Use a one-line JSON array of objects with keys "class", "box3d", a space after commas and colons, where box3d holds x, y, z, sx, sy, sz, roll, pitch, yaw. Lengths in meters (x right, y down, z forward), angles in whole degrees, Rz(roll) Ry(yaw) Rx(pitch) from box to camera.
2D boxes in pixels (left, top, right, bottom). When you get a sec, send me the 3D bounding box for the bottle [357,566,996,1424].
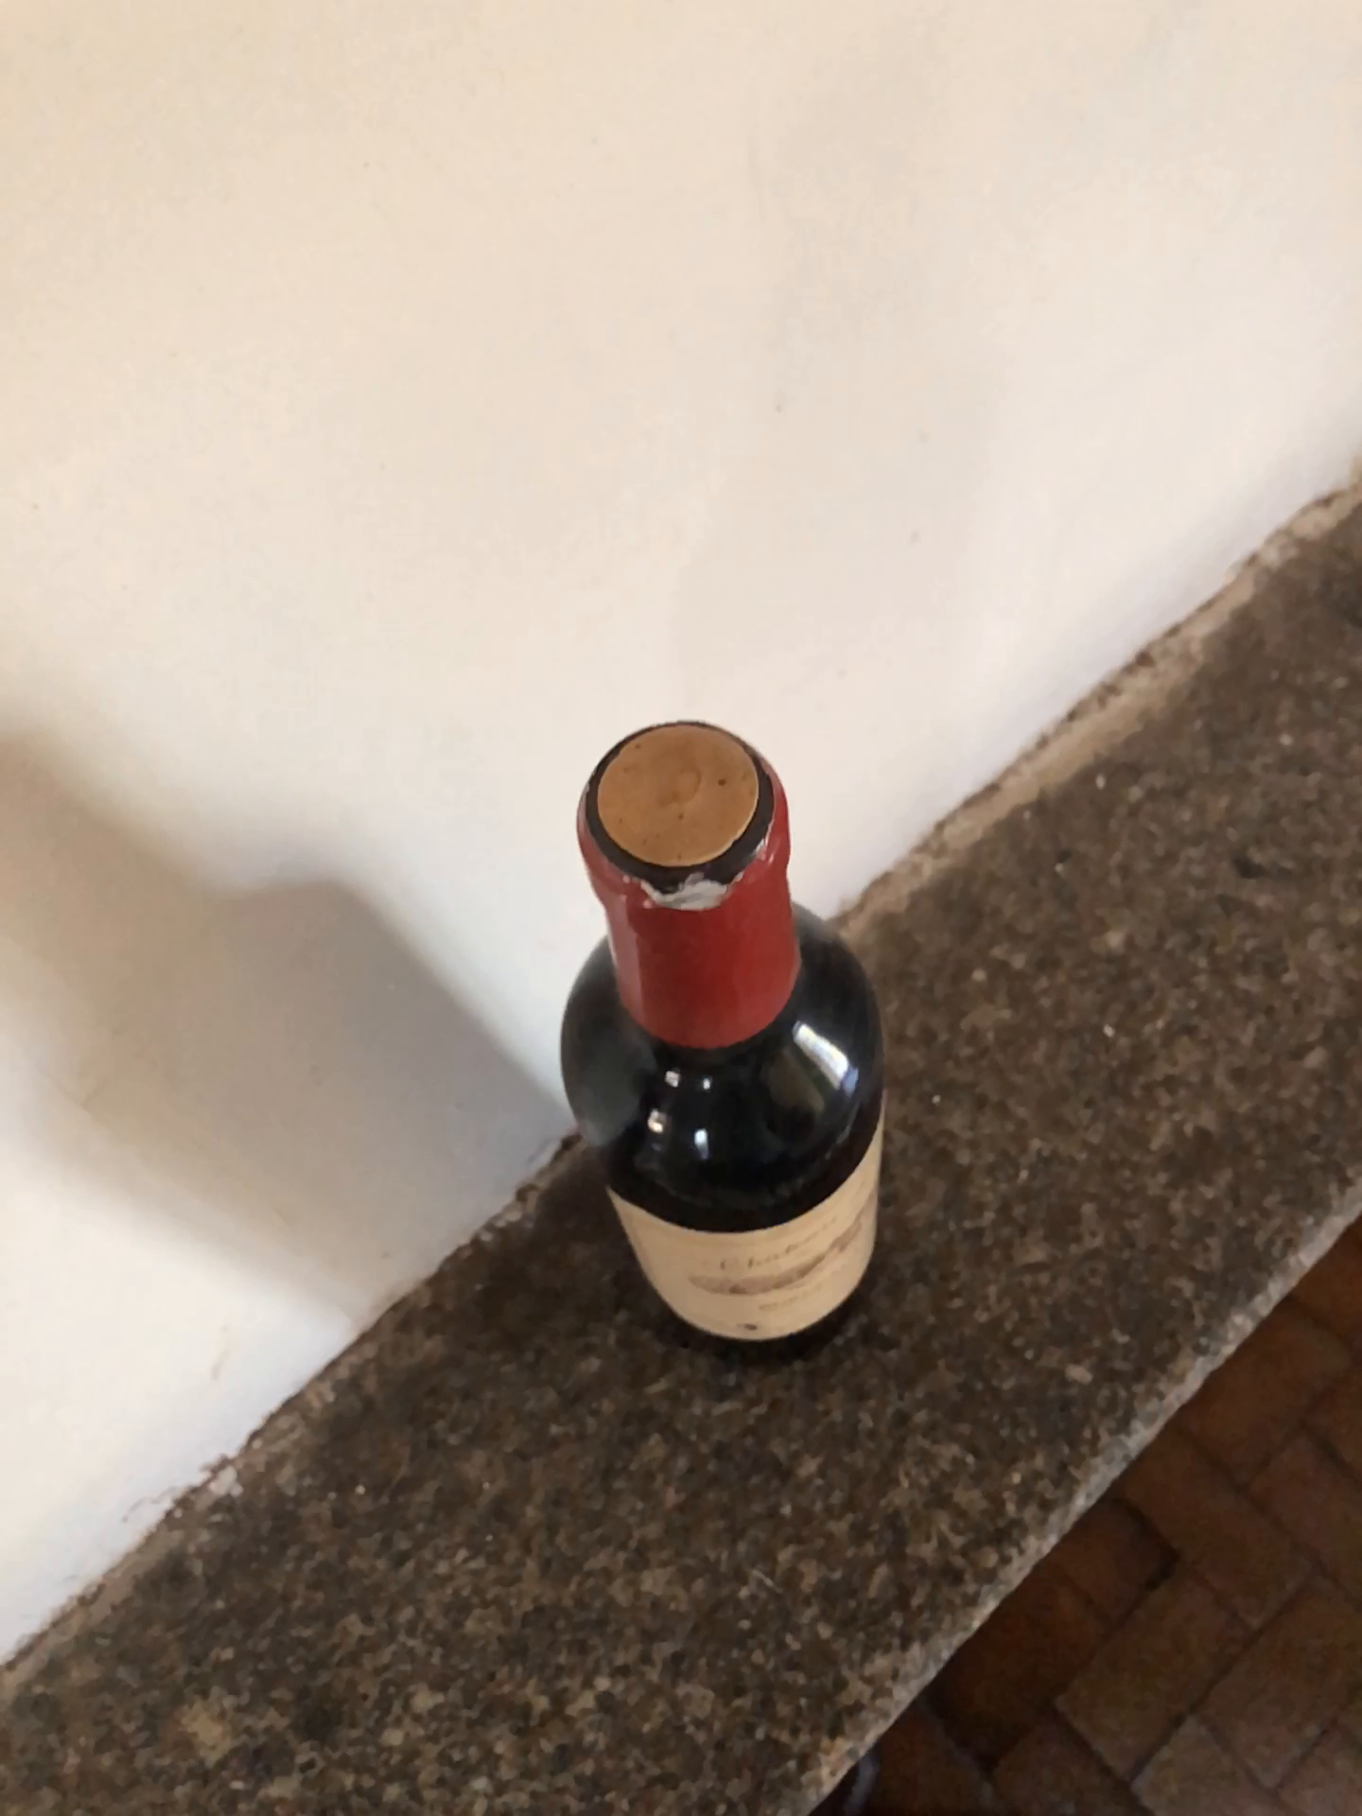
[{"class": "bottle", "box3d": [0.013, 0.040, 0.299, 0.060, 0.229, 0.060, -3, 63, 6]}]
